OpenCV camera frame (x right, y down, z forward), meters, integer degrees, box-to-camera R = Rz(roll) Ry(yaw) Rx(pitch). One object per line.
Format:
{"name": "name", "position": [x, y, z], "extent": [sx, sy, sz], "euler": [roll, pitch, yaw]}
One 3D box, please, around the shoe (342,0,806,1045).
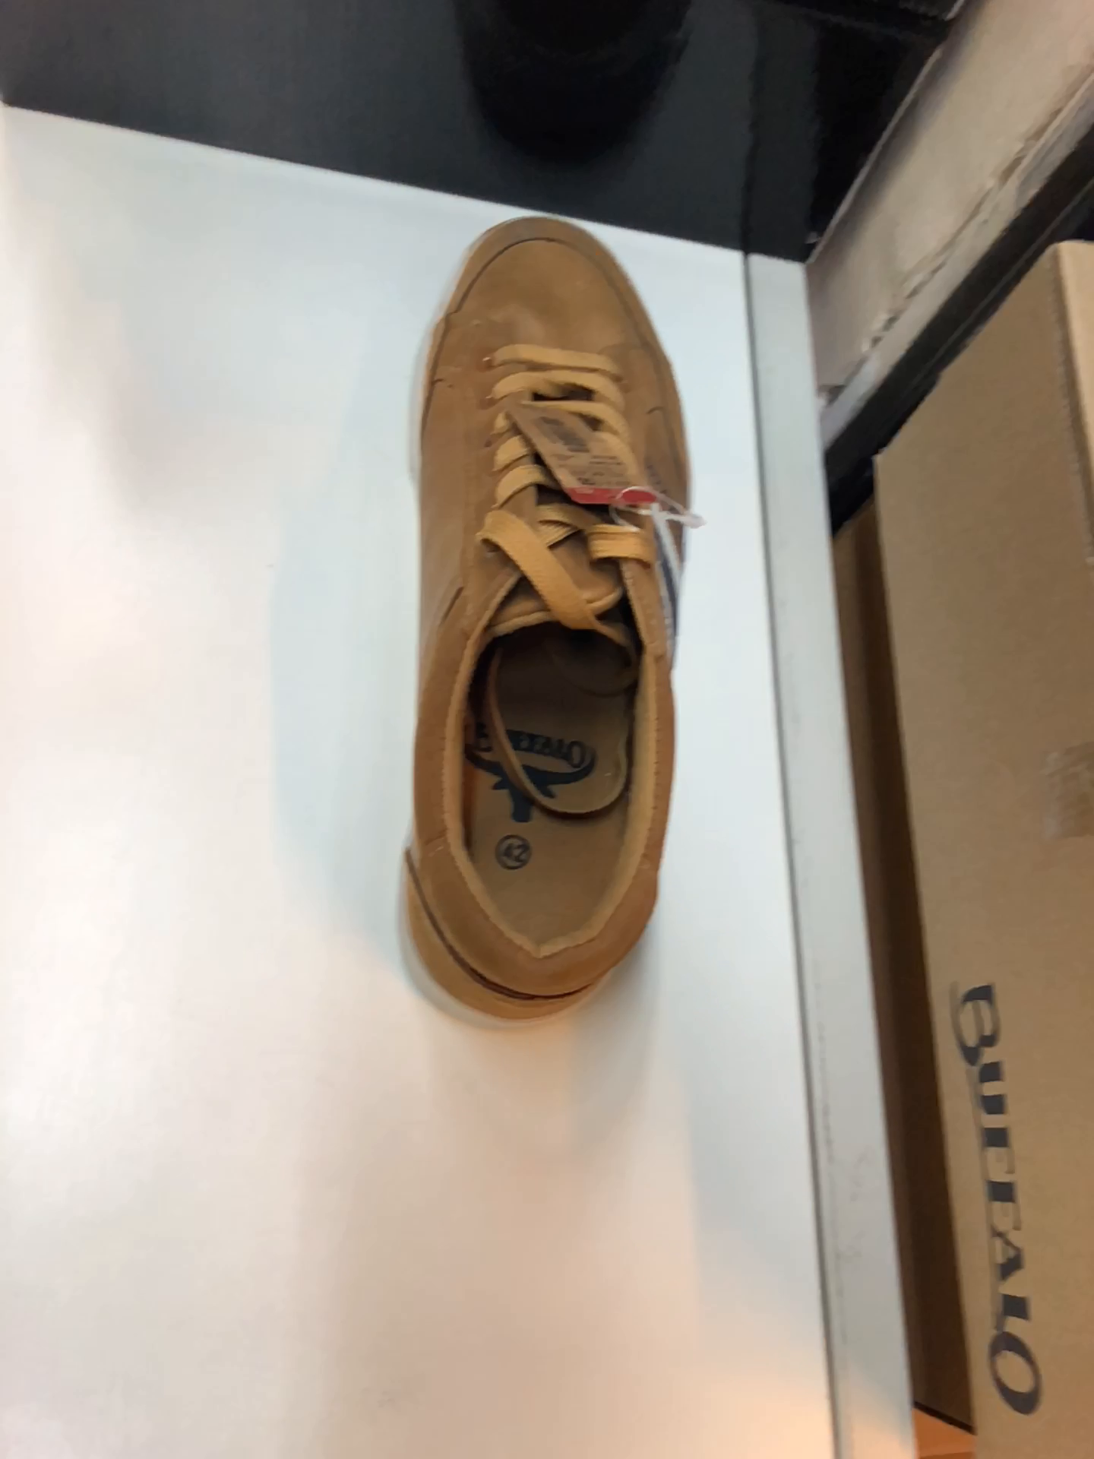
{"name": "shoe", "position": [0.007, -0.060, 0.377], "extent": [0.105, 0.104, 0.295], "euler": [7, 71, -11]}
